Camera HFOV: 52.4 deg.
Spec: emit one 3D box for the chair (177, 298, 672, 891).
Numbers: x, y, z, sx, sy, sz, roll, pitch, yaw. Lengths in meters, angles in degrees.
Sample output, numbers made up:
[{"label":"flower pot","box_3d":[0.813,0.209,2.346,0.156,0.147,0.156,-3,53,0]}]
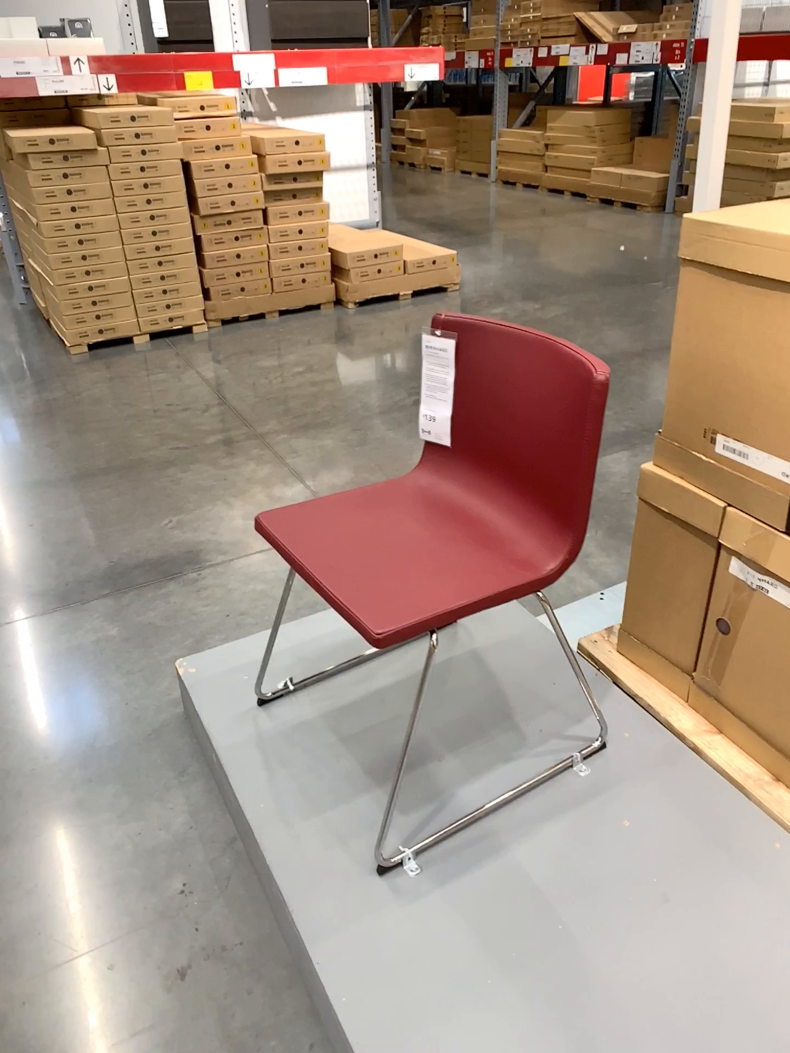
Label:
[{"label":"chair","box_3d":[0.033,0.066,1.399,0.550,0.726,0.533,-18,34,-26]}]
